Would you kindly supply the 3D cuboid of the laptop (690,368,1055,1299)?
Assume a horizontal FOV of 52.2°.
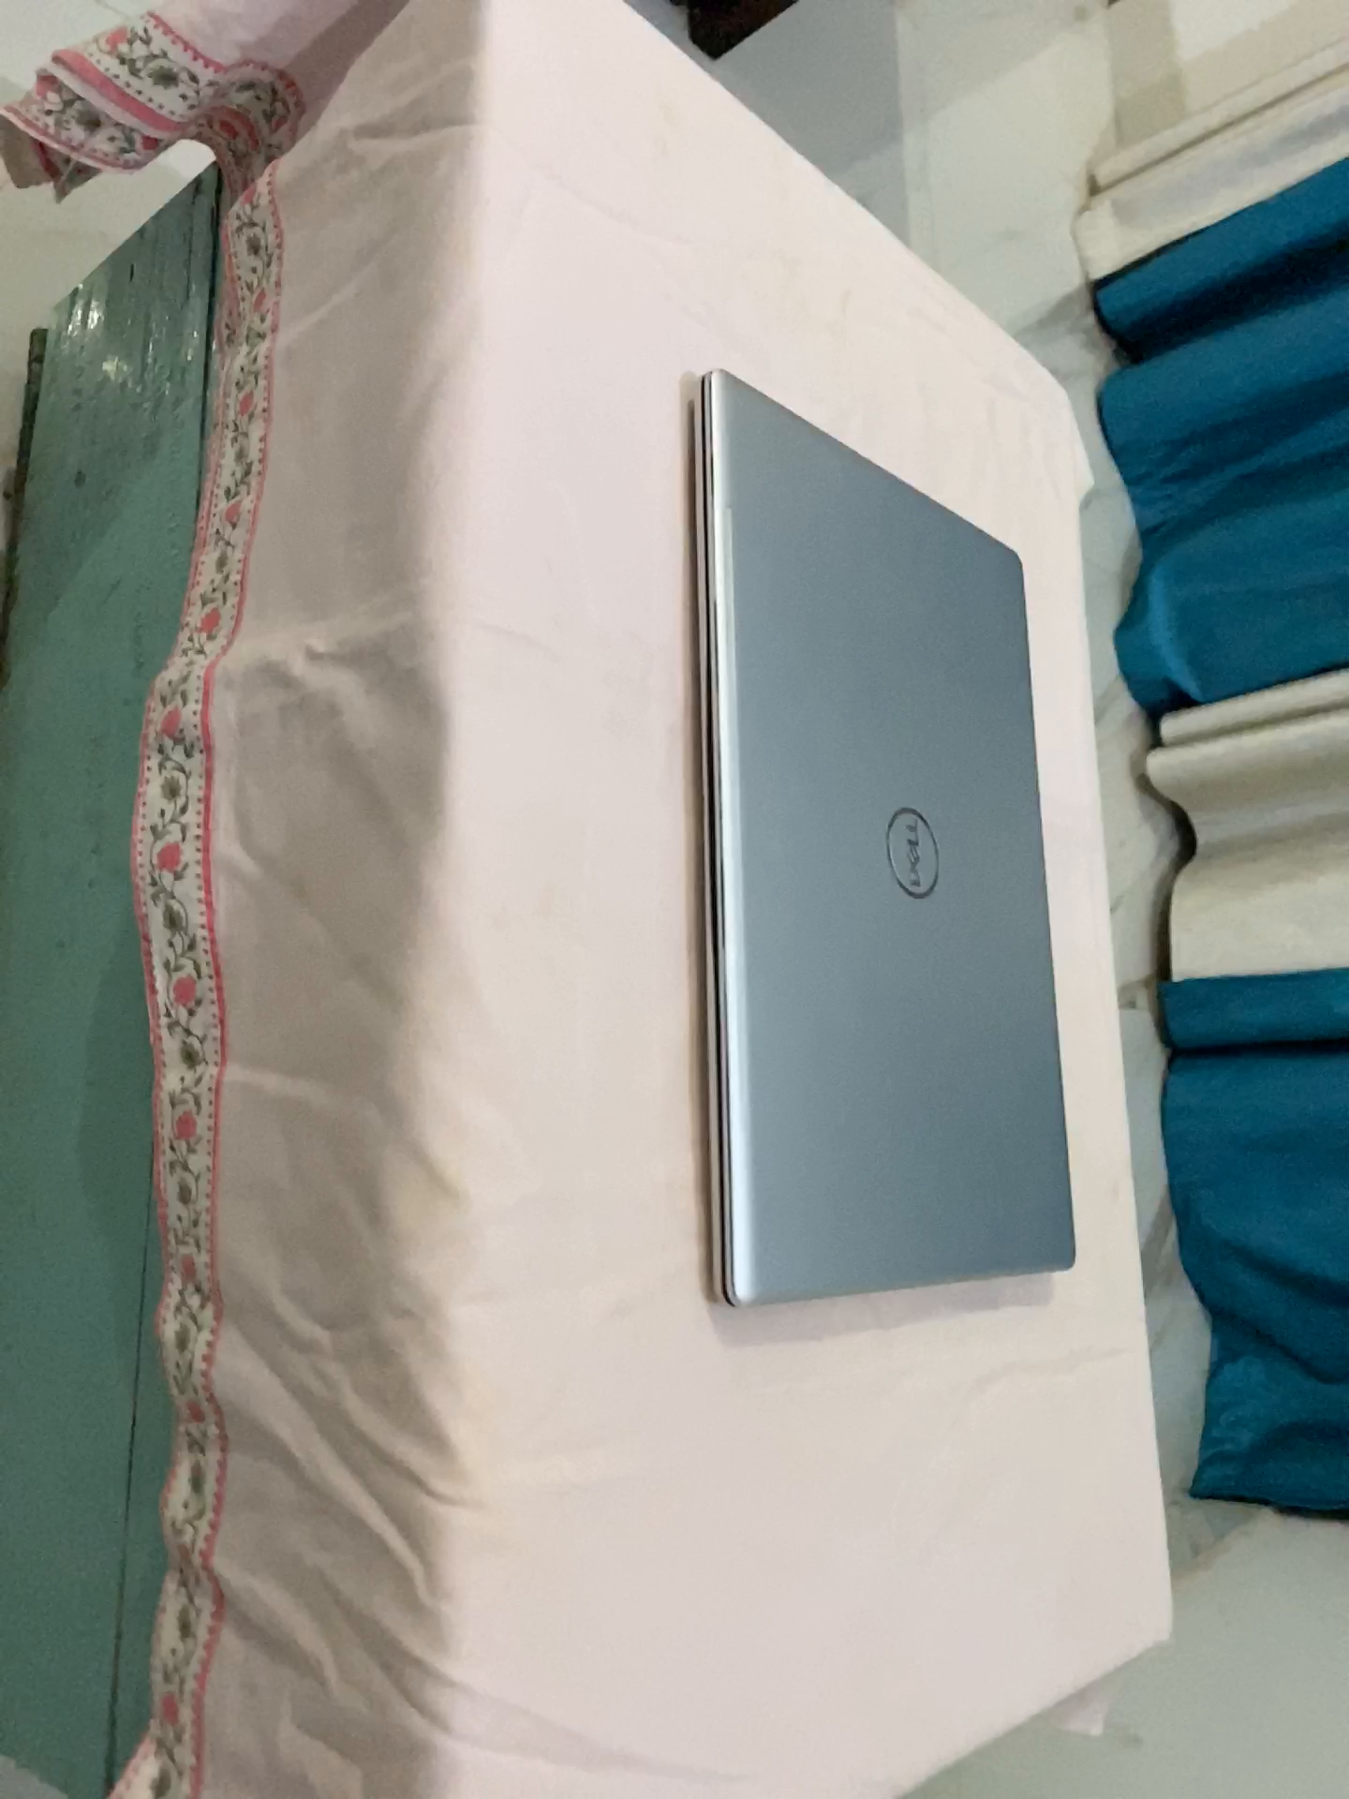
[{"bbox_3d":[0.093,-0.019,0.602,0.237,0.004,0.359,11,74,-45],"label":"laptop"}]
